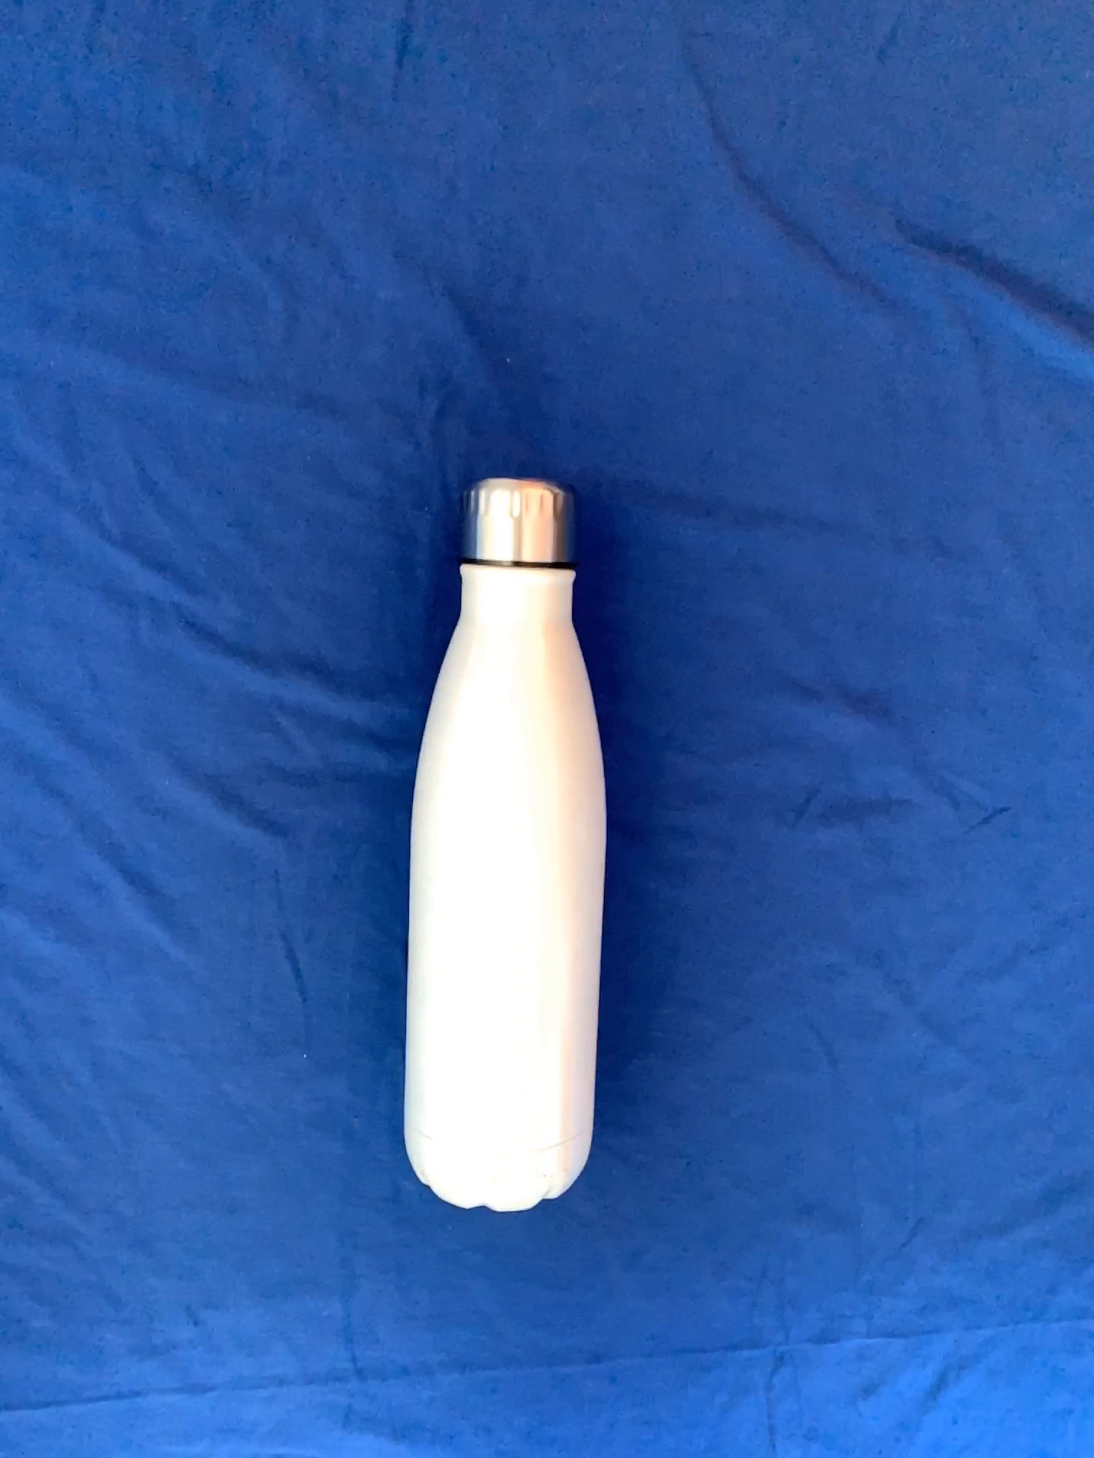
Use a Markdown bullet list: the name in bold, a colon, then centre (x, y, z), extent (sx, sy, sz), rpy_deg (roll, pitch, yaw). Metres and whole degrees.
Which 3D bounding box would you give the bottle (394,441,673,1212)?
- **bottle**: centre (-0.009, 0.037, 0.395), extent (0.080, 0.050, 0.260), rpy_deg (2, 100, -6)
